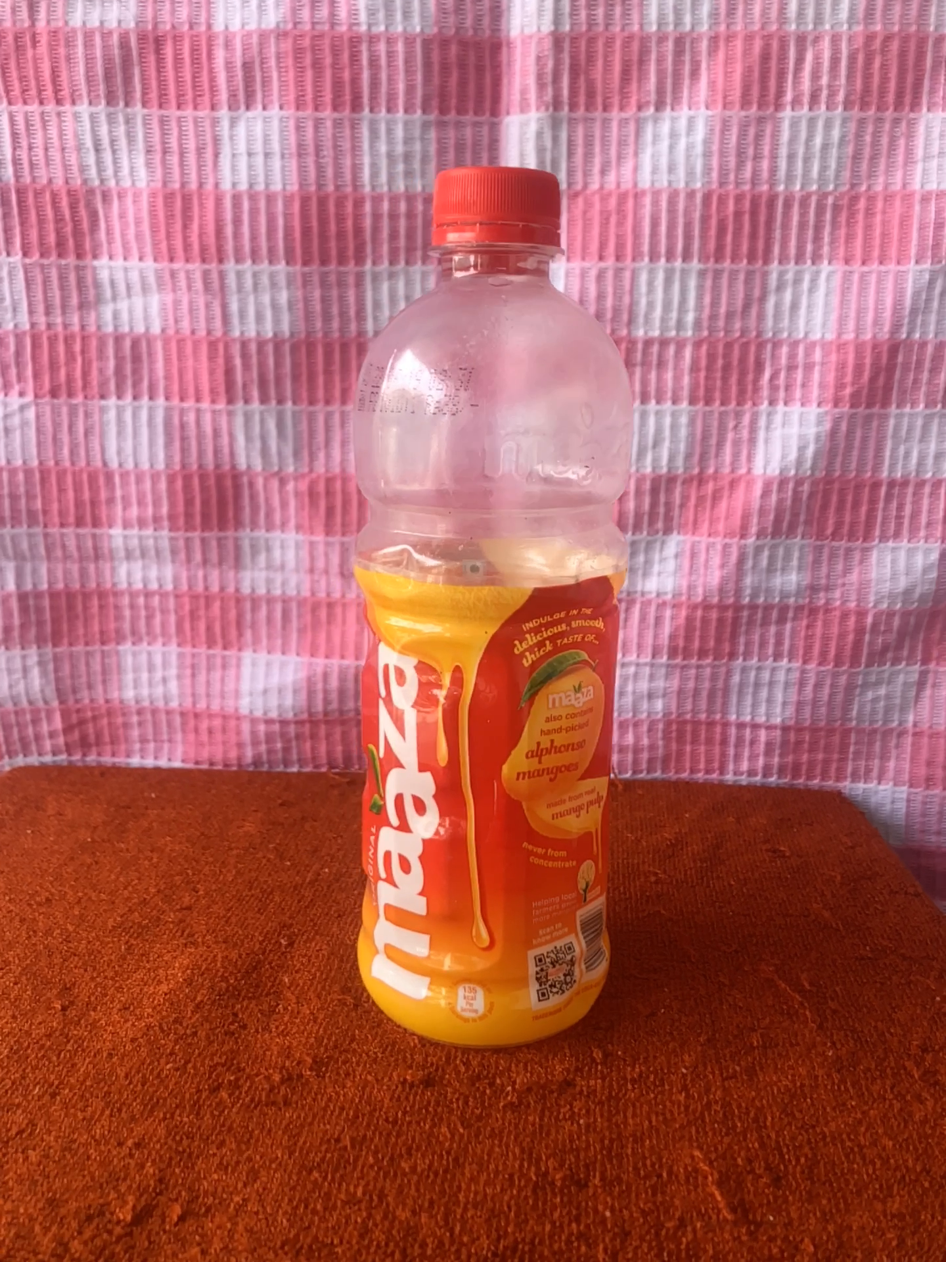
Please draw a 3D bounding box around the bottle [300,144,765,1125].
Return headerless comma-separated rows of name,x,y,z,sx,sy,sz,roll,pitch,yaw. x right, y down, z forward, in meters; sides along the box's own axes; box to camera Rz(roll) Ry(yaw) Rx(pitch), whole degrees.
bottle,0.011,-0.001,0.264,0.080,0.209,0.070,12,19,29
